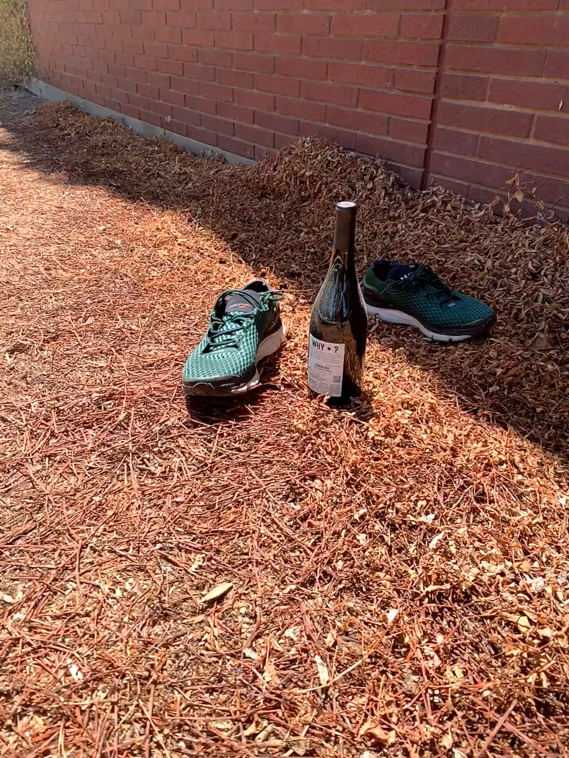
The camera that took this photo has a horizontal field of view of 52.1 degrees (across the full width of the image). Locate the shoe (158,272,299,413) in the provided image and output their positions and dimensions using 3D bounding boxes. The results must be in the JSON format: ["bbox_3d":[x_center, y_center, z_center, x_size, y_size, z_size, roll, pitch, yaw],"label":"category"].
[{"bbox_3d":[-0.077,-0.075,0.960,0.140,0.089,0.302,8,32,11],"label":"shoe"}]

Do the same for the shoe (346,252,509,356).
[{"bbox_3d":[0.267,-0.154,1.129,0.130,0.089,0.271,-25,40,-37],"label":"shoe"}]
